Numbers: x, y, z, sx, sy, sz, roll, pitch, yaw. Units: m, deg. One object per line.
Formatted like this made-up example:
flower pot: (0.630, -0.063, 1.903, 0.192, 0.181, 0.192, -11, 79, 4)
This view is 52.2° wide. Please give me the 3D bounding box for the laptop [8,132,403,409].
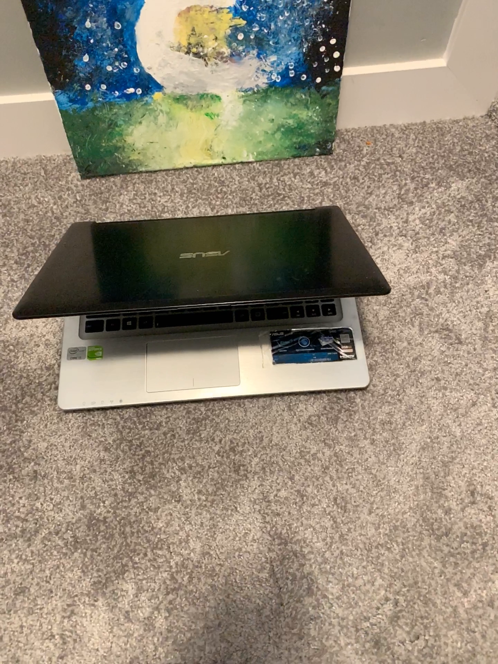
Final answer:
laptop: (-0.048, -0.068, 0.570, 0.354, 0.134, 0.253, -4, 65, -2)
